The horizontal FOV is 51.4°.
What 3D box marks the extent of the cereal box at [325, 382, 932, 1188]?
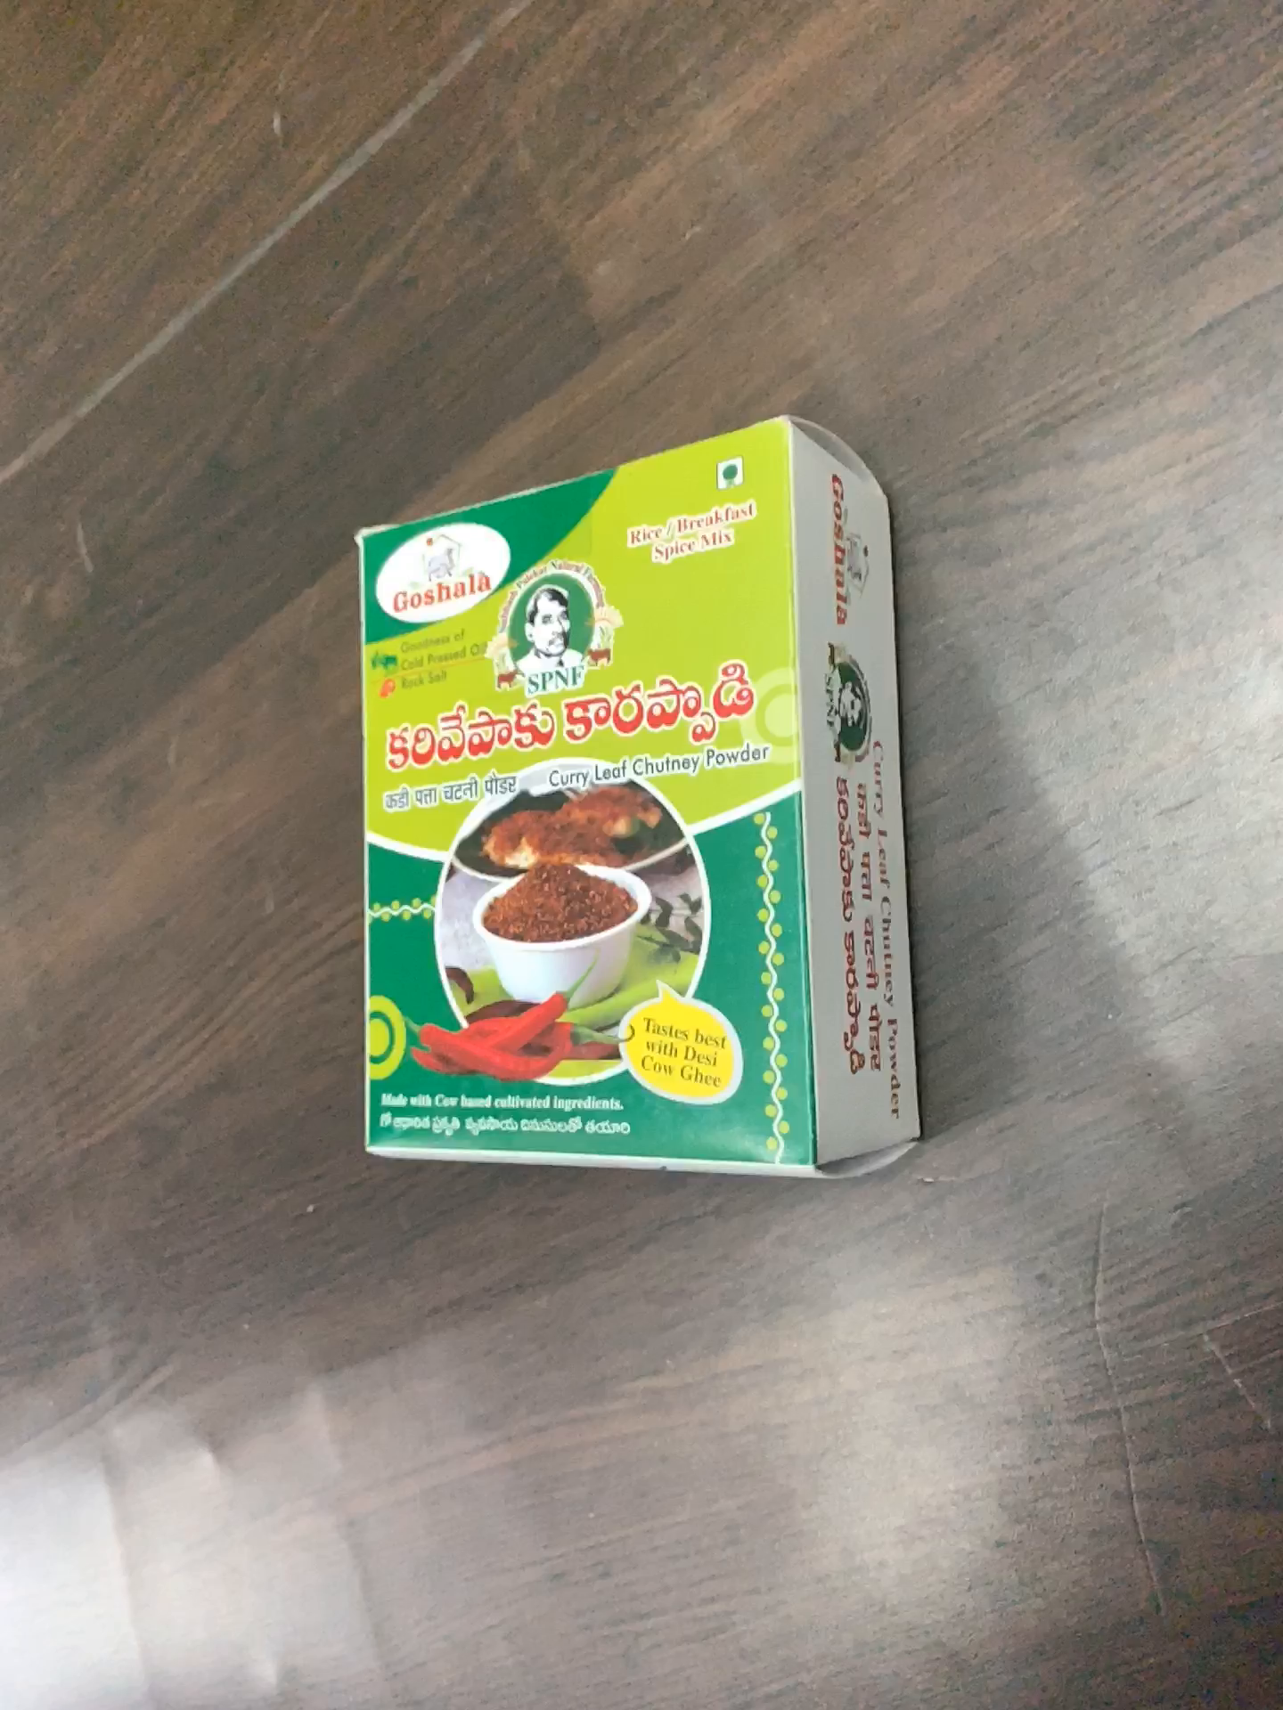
[{"bbox_3d":[-0.005,-0.007,0.239,0.100,0.040,0.120,-5,82,33],"label":"cereal box"}]
